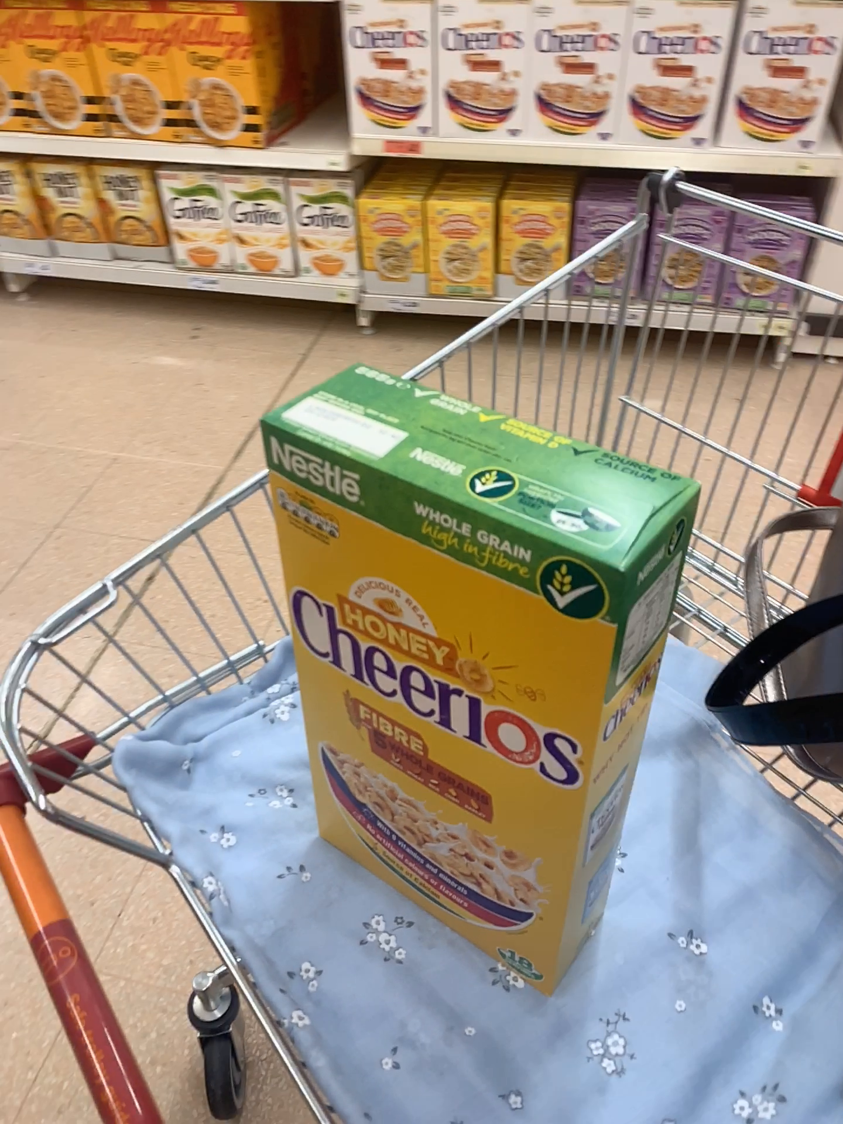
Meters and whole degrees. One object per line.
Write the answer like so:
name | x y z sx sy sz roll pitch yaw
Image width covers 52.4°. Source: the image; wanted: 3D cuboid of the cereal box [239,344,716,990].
cereal box | 0.020 0.076 0.504 0.211 0.347 0.080 26 47 28
